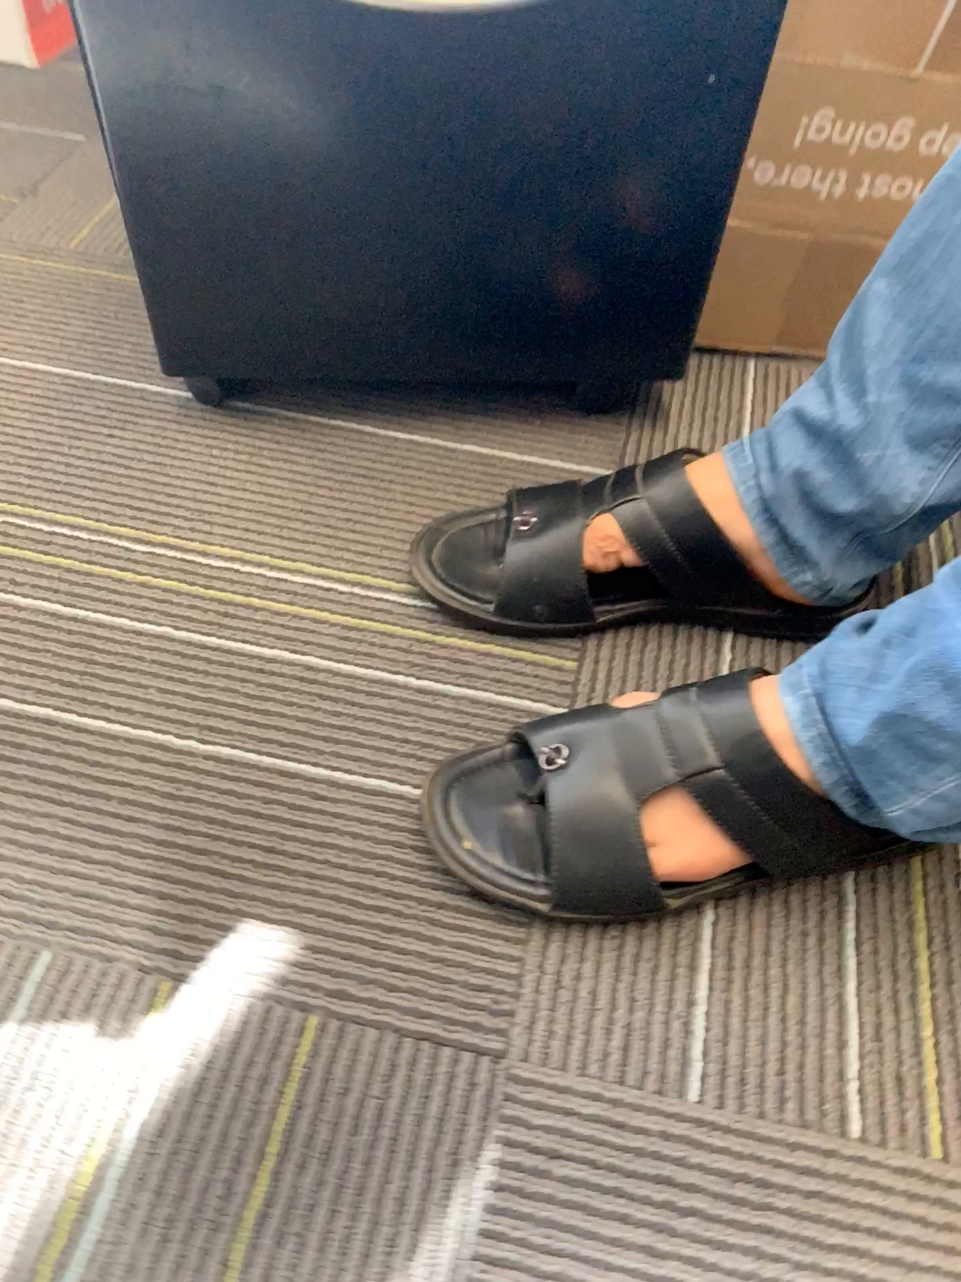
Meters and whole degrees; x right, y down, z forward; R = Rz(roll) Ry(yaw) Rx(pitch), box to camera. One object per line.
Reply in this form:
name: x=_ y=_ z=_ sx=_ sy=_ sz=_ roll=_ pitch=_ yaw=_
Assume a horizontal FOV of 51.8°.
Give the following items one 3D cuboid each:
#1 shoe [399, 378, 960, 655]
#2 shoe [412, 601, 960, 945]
shoe: x=0.110 y=-0.075 z=0.613 sx=0.316 sy=0.116 sz=0.118 roll=1 pitch=51 yaw=-3
shoe: x=0.126 y=0.066 z=0.504 sx=0.316 sy=0.116 sz=0.118 roll=-2 pitch=51 yaw=-5
